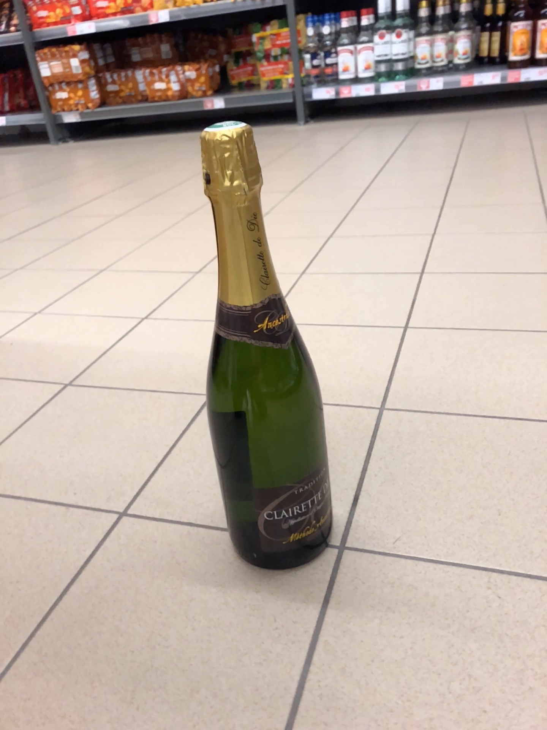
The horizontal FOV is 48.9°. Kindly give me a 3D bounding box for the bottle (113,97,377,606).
[{"bbox_3d":[-0.006,-0.004,0.415,0.100,0.318,0.100,-6,27,3],"label":"bottle"}]
